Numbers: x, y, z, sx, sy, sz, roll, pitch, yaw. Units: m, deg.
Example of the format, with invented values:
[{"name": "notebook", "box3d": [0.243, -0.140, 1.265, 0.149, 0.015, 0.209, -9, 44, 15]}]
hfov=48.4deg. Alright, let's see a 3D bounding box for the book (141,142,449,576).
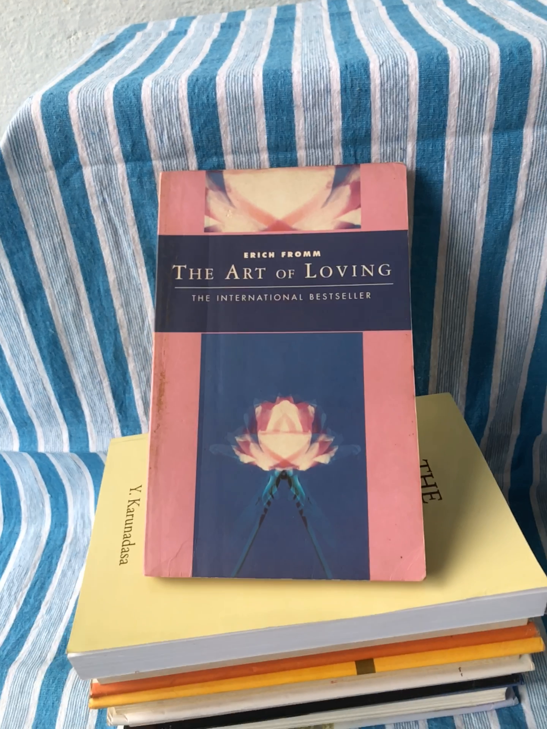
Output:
[{"name": "book", "box3d": [0.007, -0.006, 0.280, 0.129, 0.015, 0.193, -2, 79, 7]}]
